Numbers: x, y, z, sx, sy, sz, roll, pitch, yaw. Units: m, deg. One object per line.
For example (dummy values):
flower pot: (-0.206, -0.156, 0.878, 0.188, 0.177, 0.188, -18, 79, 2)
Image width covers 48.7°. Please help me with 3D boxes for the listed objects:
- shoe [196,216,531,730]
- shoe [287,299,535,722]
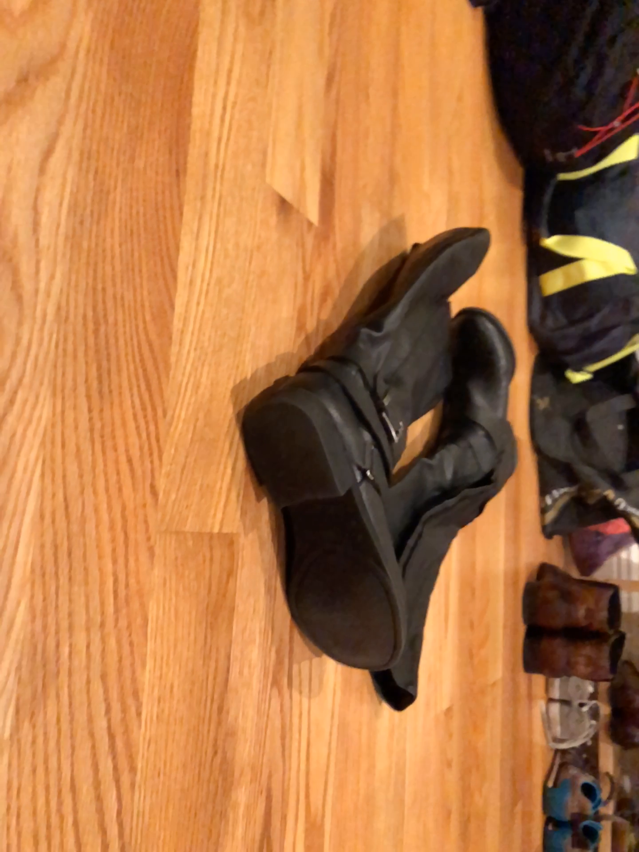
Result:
shoe: (0.085, 0.000, 0.634, 0.405, 0.104, 0.290, -43, 126, -54)
shoe: (0.124, 0.046, 0.706, 0.395, 0.094, 0.250, -43, 126, -56)
